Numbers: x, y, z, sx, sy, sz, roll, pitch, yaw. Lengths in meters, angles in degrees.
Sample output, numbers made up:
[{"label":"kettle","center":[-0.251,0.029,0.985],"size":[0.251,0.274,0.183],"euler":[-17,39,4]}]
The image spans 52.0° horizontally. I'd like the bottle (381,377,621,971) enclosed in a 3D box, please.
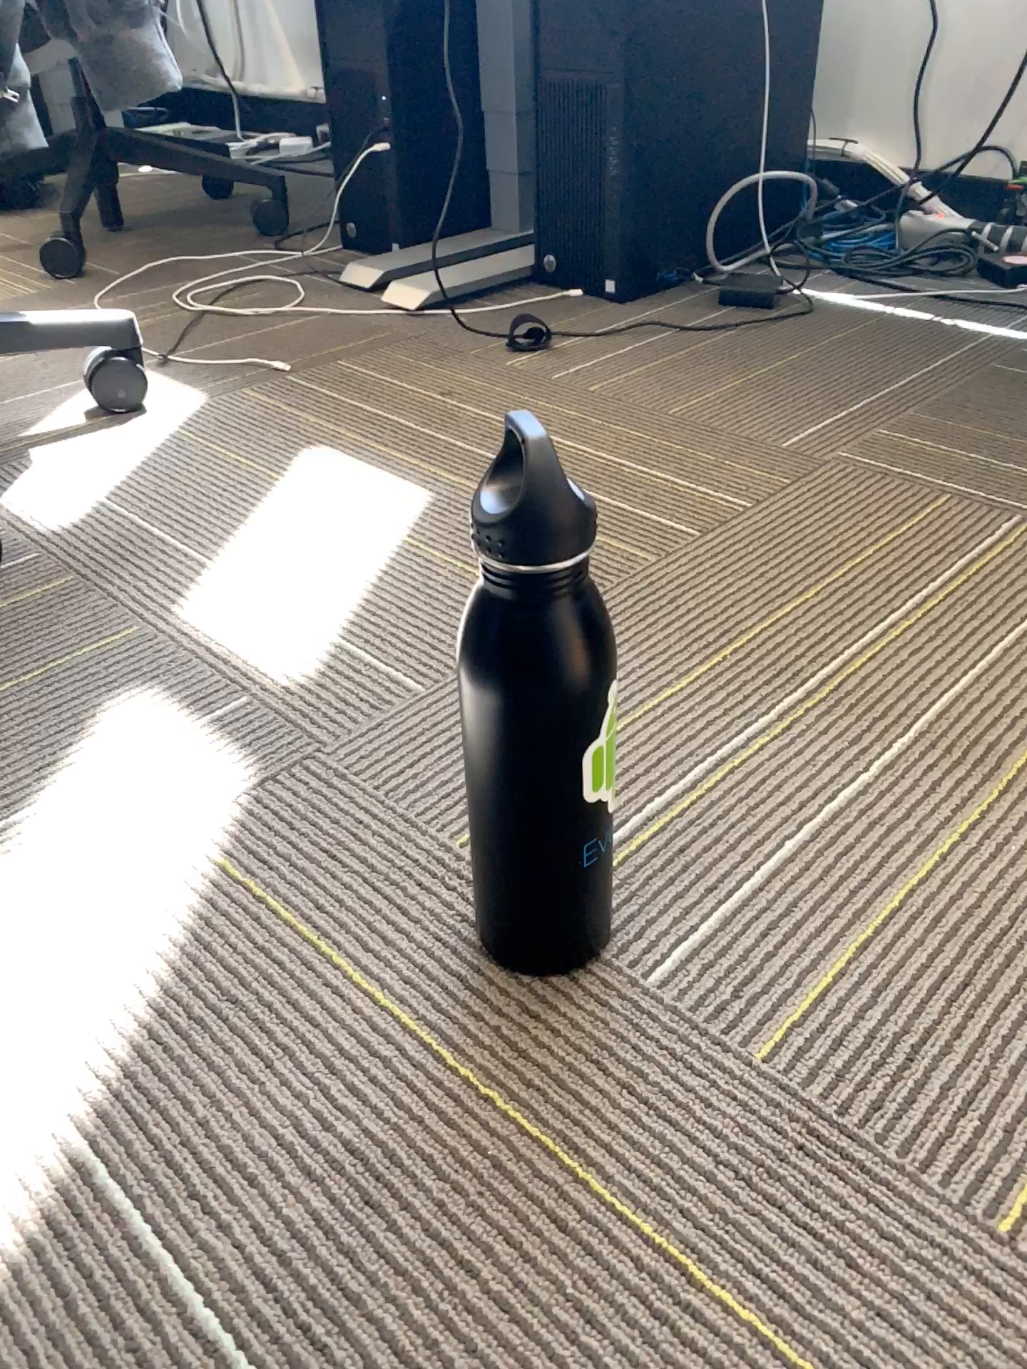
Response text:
[{"label":"bottle","center":[0.000,0.005,0.457],"size":[0.080,0.249,0.091],"euler":[-1,35,2]}]
